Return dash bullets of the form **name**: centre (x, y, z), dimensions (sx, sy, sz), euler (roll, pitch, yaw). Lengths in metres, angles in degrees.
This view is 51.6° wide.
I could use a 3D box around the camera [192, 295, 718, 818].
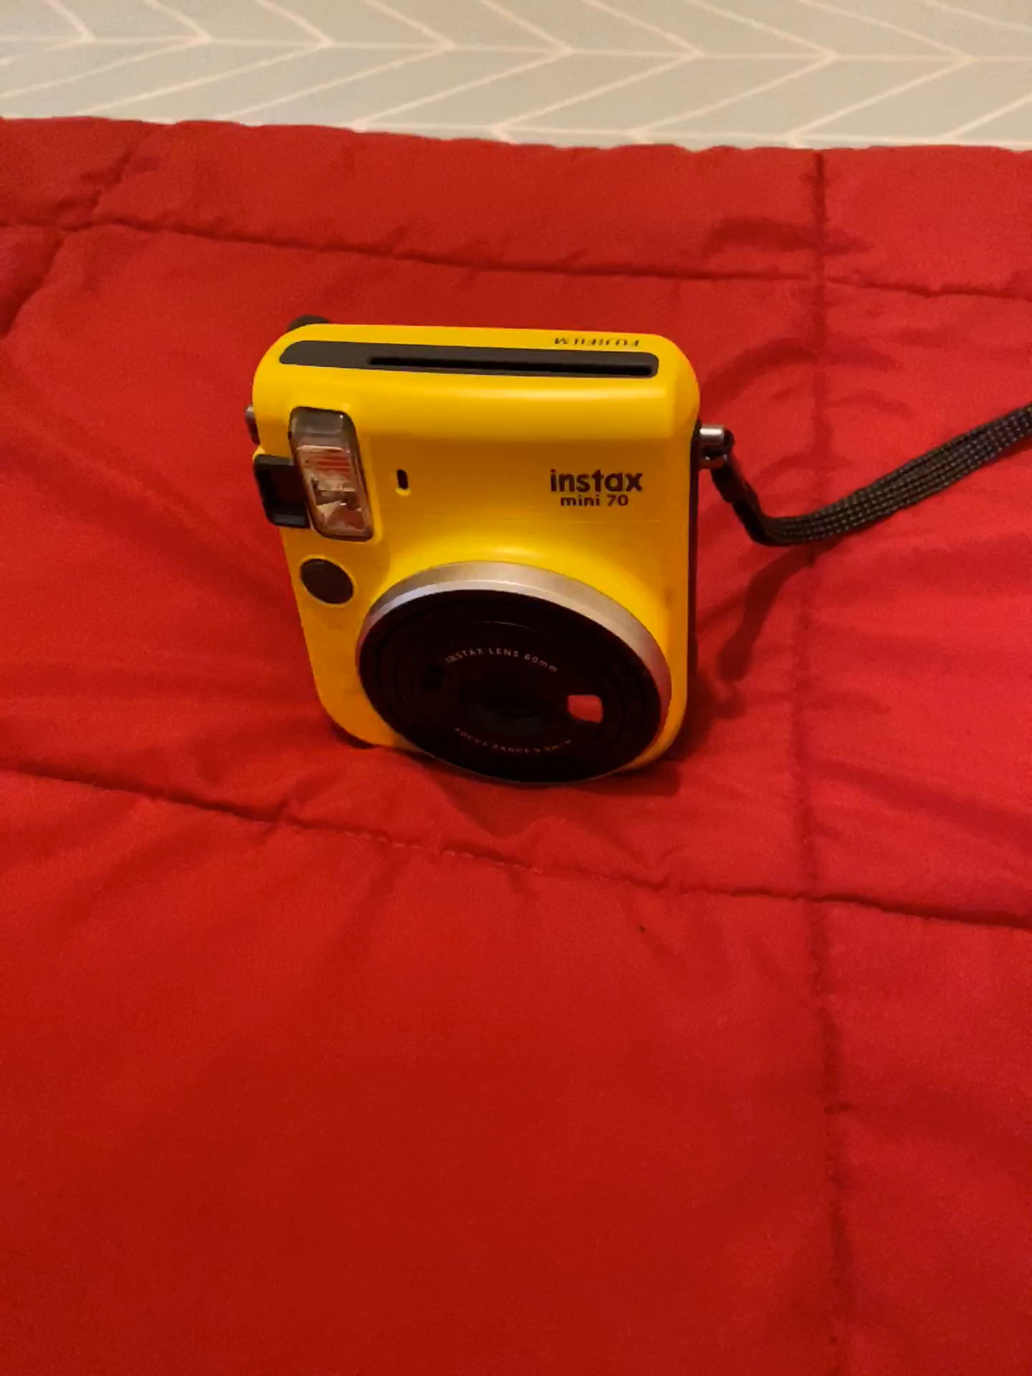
- **camera**: centre (-0.007, -0.028, 0.252), dimensions (0.095, 0.103, 0.057), euler (6, 49, 10)
